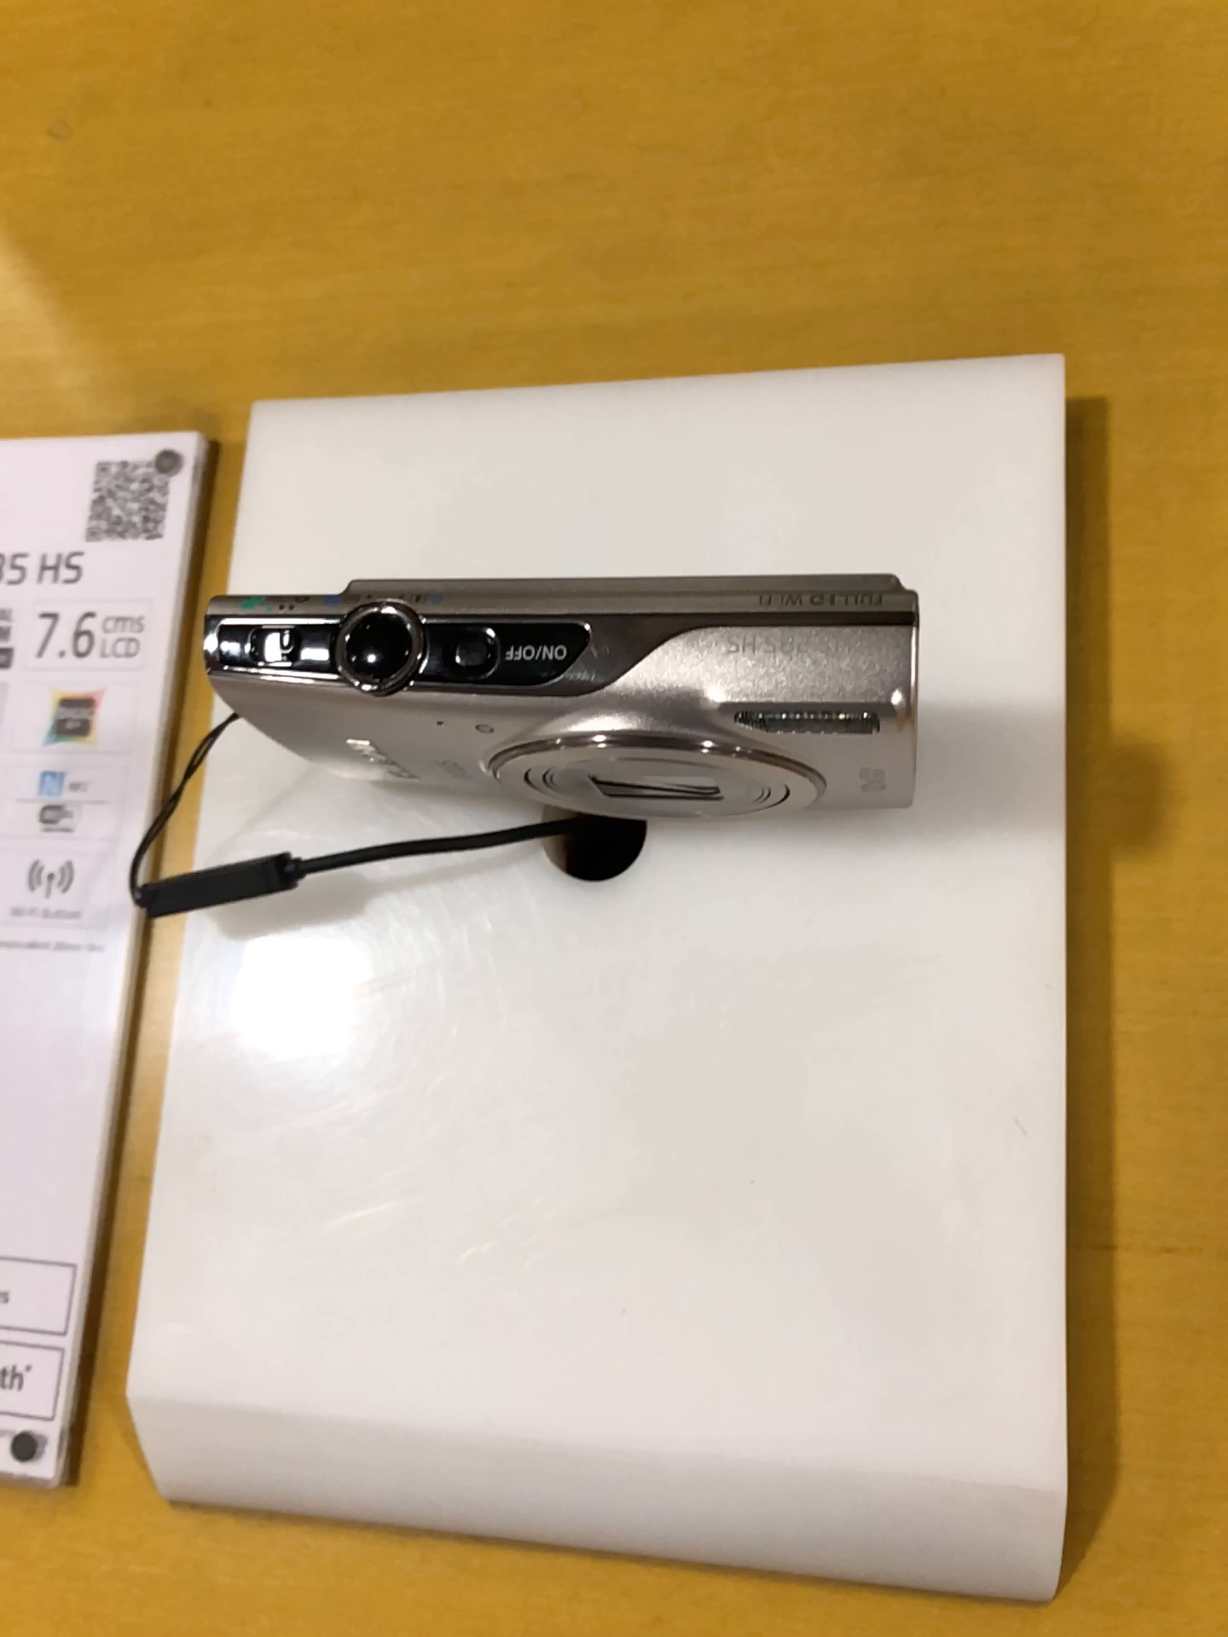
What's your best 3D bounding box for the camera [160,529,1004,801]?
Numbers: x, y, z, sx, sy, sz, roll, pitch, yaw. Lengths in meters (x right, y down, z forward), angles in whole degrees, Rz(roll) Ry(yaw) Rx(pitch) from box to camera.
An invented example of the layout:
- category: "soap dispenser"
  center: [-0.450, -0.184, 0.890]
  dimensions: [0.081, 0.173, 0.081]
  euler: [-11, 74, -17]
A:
- category: "camera"
  center: [-0.001, -0.020, 0.205]
  dimensions: [0.110, 0.060, 0.020]
  euler: [1, 78, 13]
